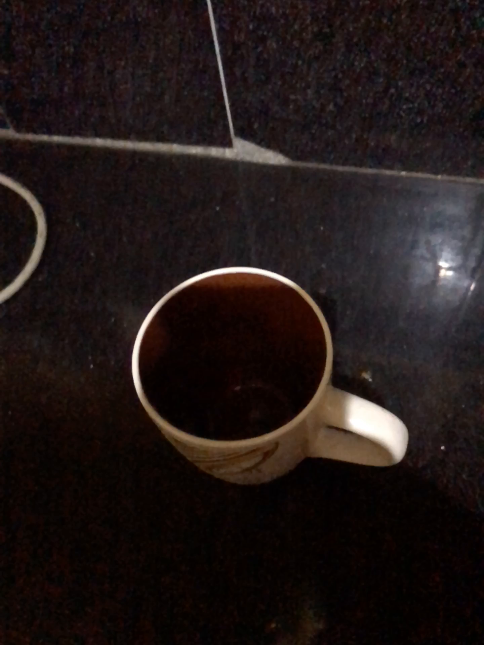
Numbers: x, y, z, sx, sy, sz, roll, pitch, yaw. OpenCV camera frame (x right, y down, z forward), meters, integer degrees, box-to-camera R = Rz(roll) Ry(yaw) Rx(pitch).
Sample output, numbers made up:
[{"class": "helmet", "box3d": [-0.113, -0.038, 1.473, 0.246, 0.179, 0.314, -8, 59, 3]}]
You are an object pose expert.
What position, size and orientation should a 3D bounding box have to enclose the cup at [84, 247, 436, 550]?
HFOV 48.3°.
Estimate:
[{"class": "cup", "box3d": [0.015, 0.036, 0.249, 0.120, 0.090, 0.090, 10, 62, 13]}]
